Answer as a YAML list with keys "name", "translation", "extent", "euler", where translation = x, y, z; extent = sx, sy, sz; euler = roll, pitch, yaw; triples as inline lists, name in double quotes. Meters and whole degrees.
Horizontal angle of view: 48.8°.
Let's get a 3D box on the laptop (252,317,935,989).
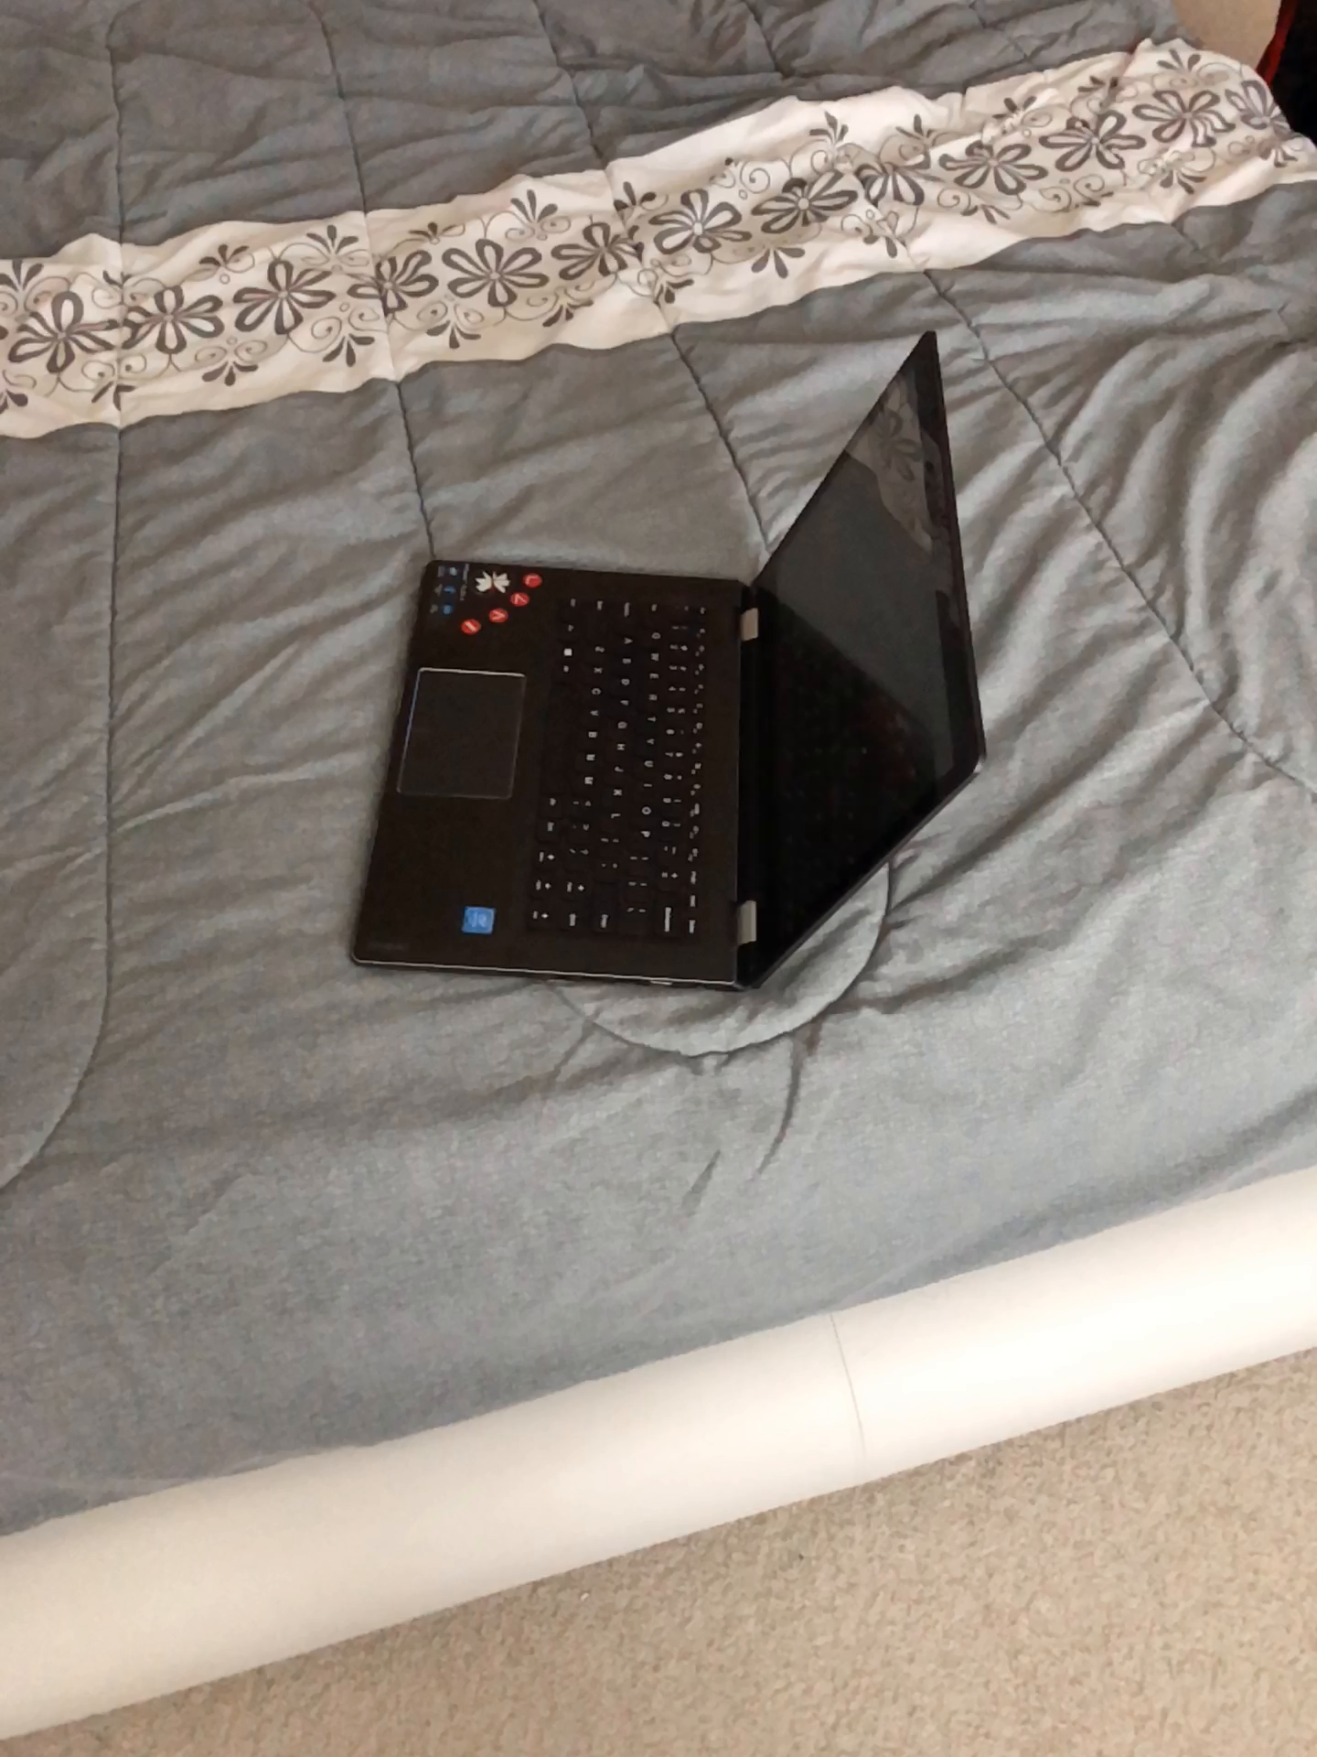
- name: "laptop"
  translation: [-0.019, -0.149, 0.935]
  extent: [0.351, 0.214, 0.362]
  euler: [2, 55, 2]
